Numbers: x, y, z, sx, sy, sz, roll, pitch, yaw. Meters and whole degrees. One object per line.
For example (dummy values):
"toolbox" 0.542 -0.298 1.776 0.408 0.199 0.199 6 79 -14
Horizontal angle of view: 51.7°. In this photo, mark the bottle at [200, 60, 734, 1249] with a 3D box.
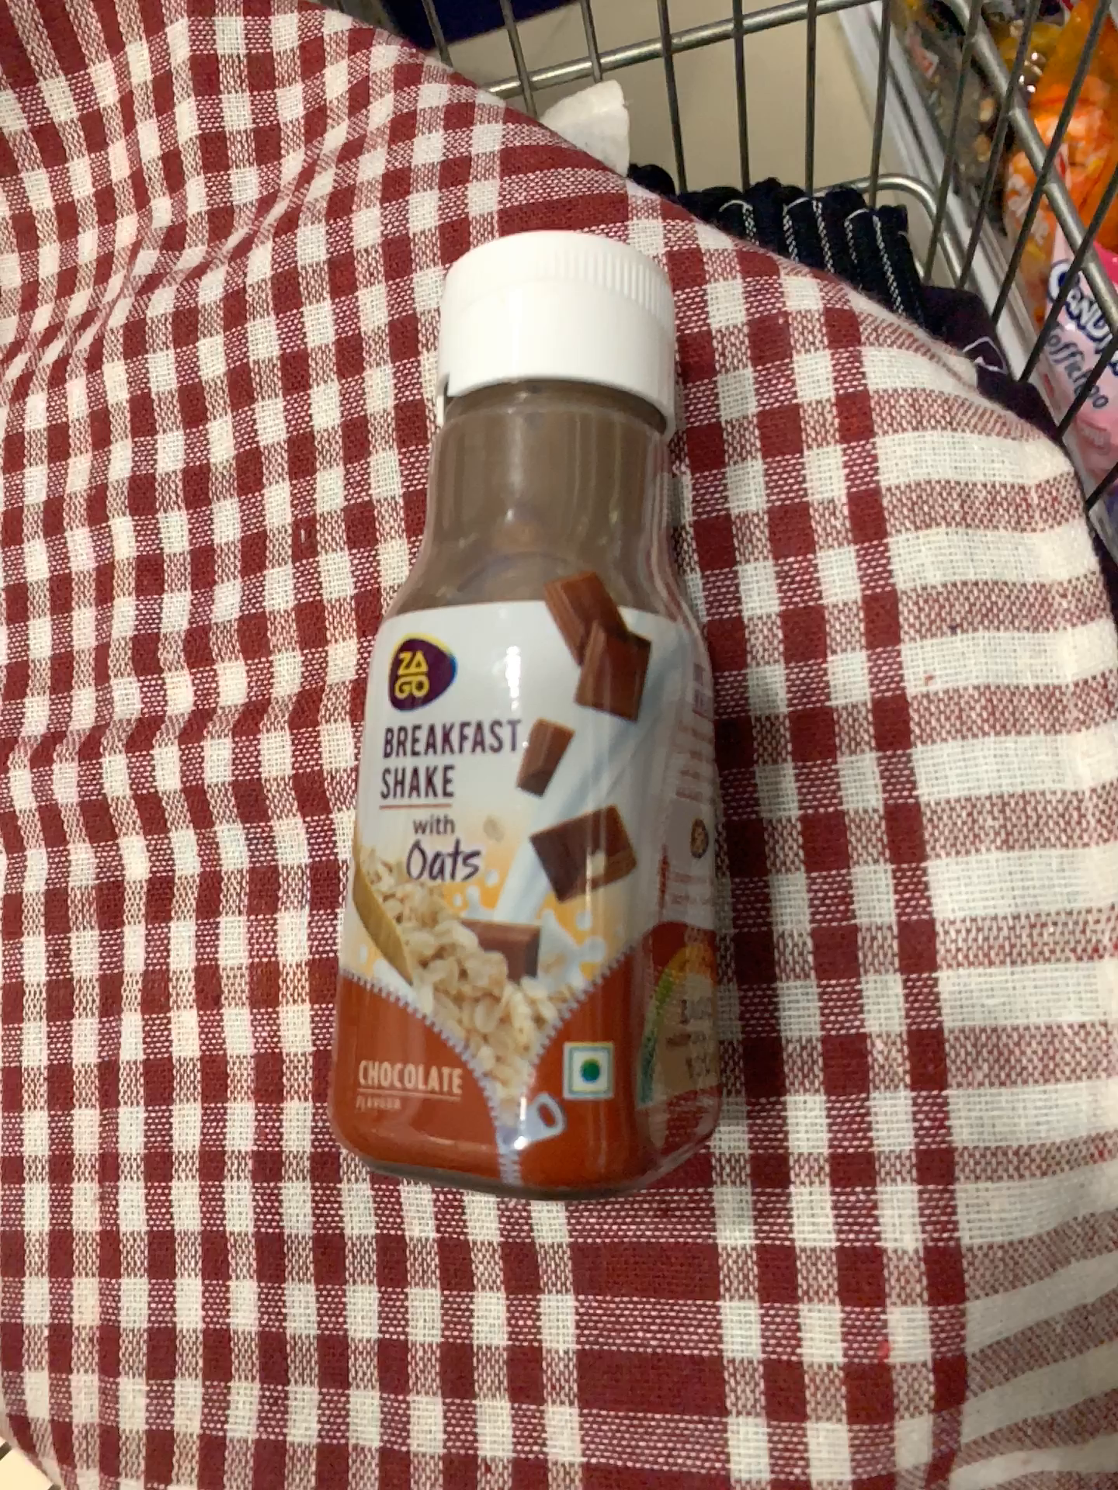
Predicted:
"bottle" -0.011 -0.012 0.179 0.060 0.050 0.150 1 86 23
